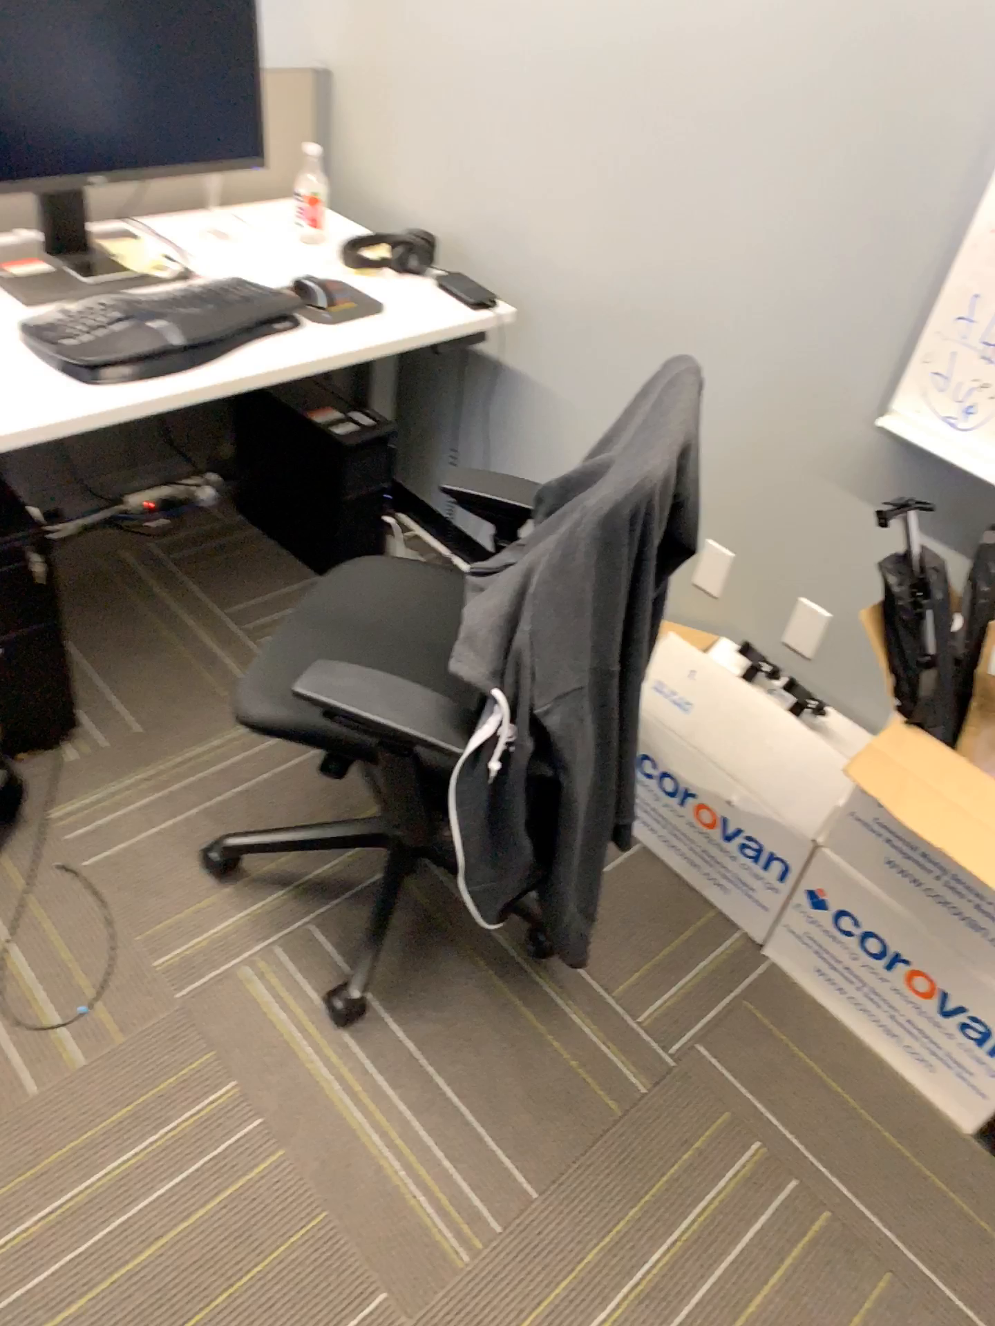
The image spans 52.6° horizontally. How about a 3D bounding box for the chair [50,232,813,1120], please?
[{"bbox_3d":[-0.083,0.003,1.636,0.731,0.994,0.774,22,42,13],"label":"chair"}]
